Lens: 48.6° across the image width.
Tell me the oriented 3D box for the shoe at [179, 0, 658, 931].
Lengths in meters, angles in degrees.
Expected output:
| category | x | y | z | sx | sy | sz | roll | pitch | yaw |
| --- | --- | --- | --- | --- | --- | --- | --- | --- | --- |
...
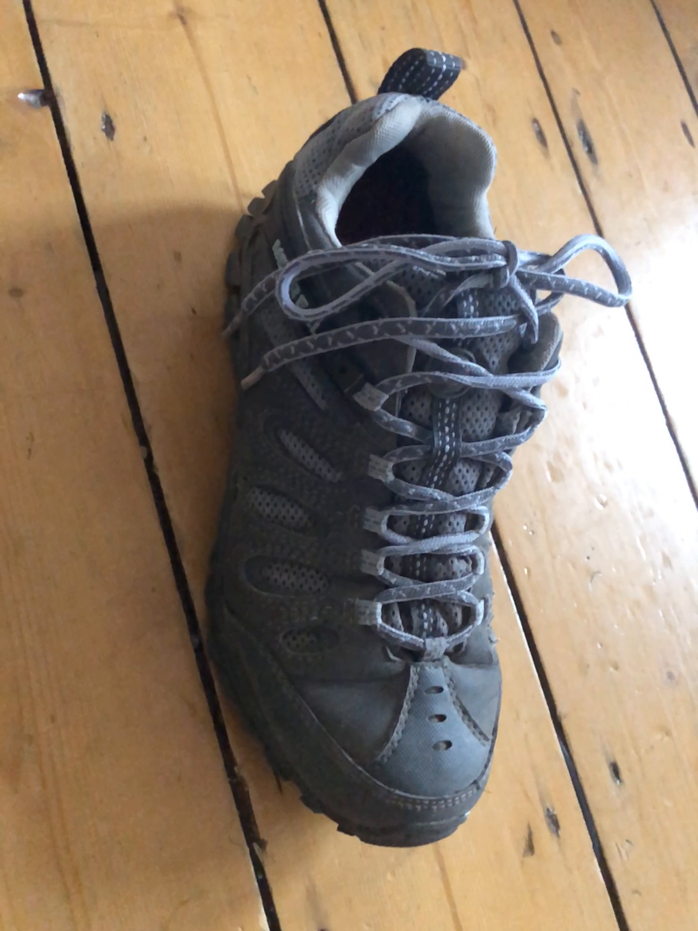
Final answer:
| category | x | y | z | sx | sy | sz | roll | pitch | yaw |
| --- | --- | --- | --- | --- | --- | --- | --- | --- | --- |
| shoe | 0.008 | -0.006 | 0.283 | 0.100 | 0.110 | 0.280 | 2 | 74 | -28 |
